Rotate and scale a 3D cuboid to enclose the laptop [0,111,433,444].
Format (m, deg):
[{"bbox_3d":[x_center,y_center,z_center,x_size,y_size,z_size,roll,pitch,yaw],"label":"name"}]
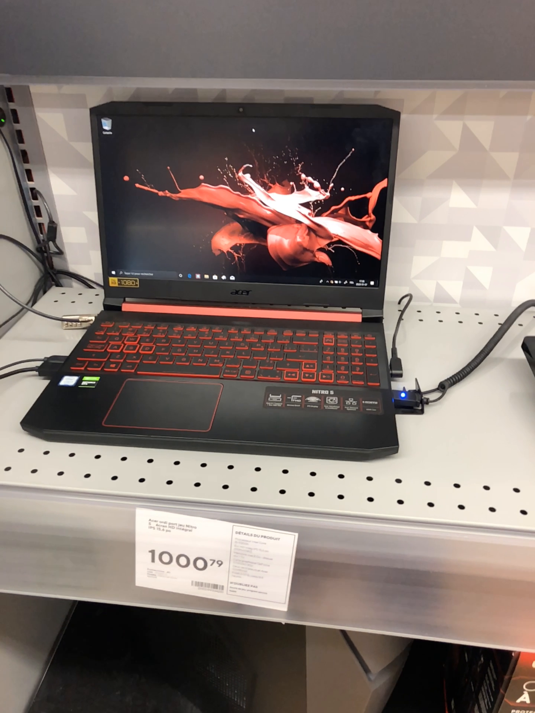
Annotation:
[{"bbox_3d":[-0.043,-0.102,0.624,0.361,0.241,0.282,3,33,4],"label":"laptop"}]
